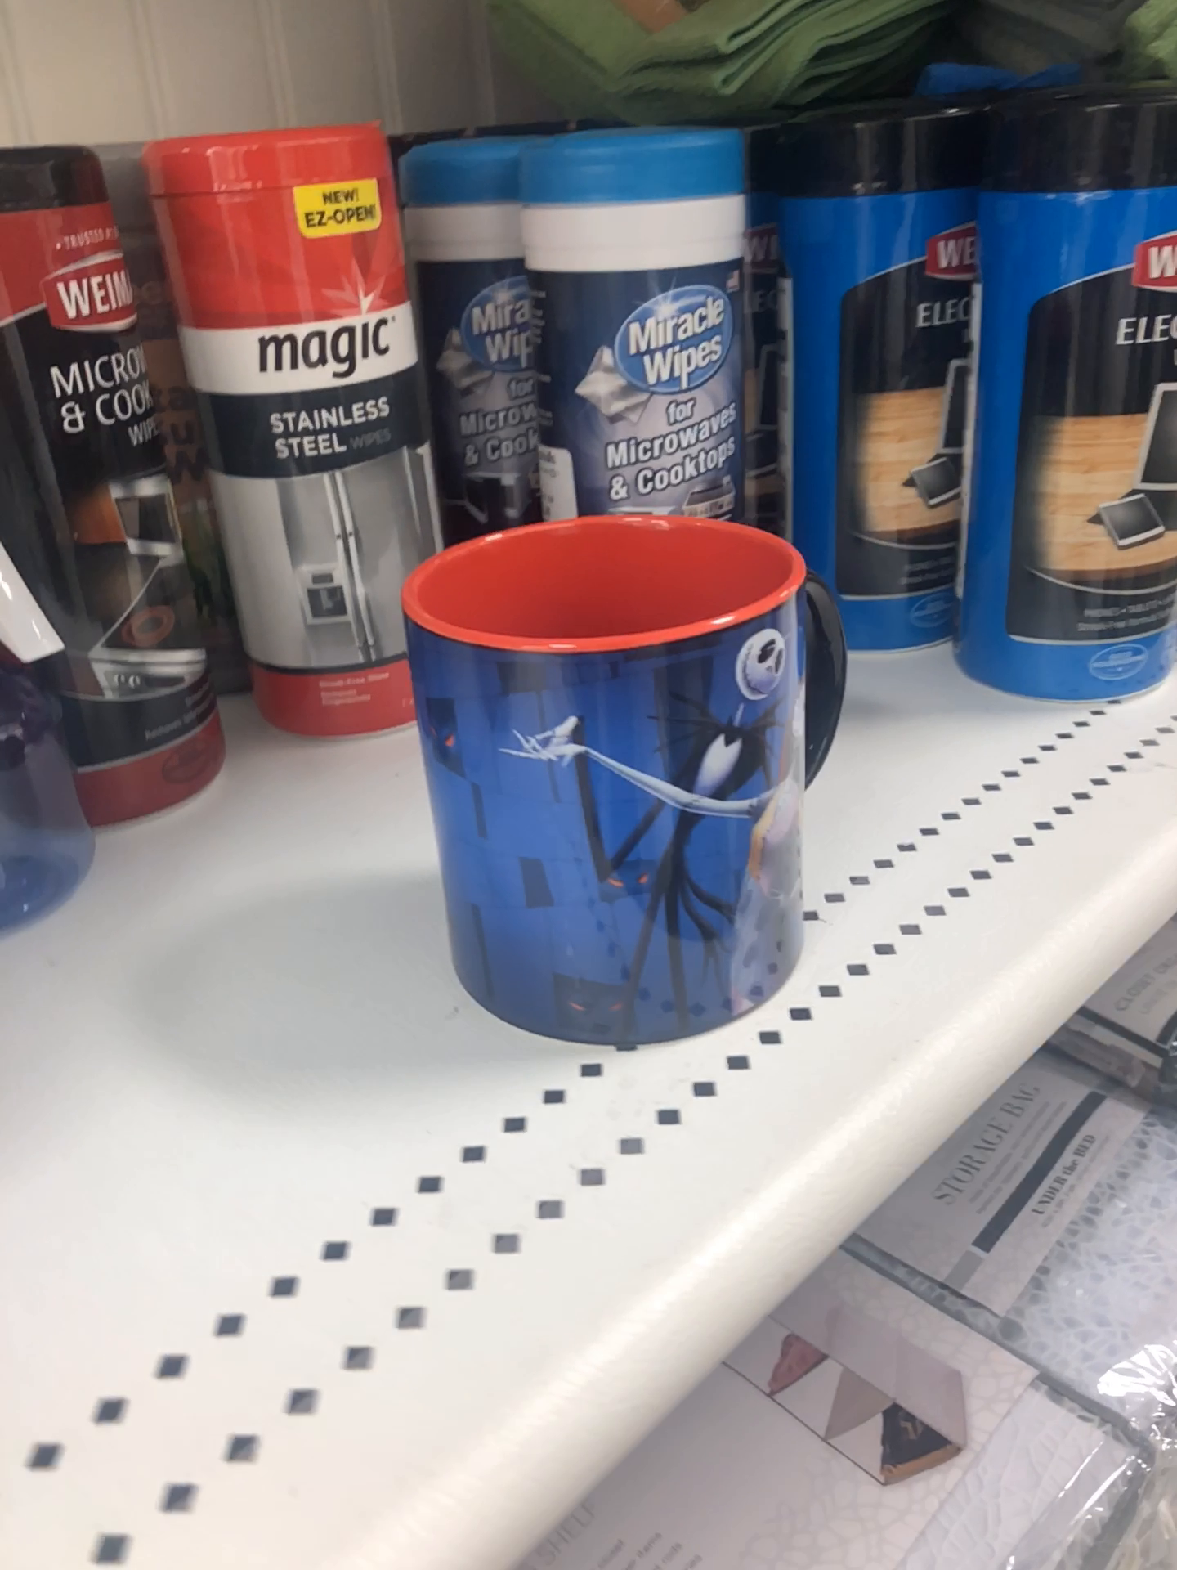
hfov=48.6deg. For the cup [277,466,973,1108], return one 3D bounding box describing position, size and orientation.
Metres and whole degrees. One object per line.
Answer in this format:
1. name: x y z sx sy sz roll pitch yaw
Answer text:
1. cup: 0.017 -0.014 0.358 0.113 0.103 0.148 17 34 36
